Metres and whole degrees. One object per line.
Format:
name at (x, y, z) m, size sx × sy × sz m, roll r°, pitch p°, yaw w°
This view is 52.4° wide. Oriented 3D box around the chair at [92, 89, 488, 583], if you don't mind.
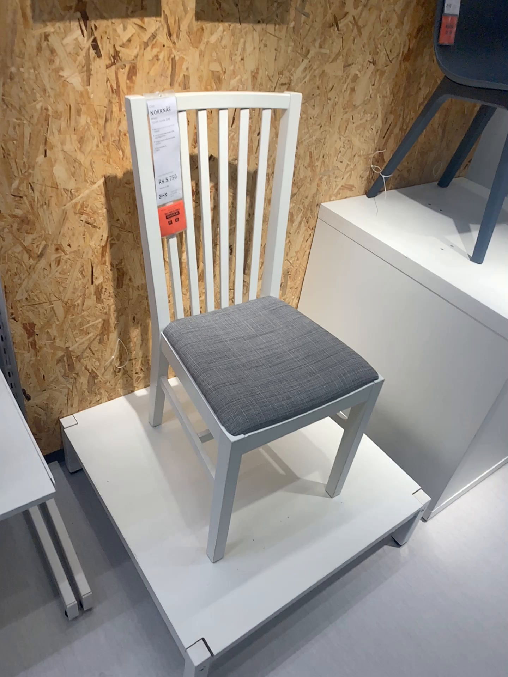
chair at (-0.017, -0.020, 1.212) m, size 0.471 × 0.896 × 0.592 m, roll -17°, pitch 45°, yaw -30°
